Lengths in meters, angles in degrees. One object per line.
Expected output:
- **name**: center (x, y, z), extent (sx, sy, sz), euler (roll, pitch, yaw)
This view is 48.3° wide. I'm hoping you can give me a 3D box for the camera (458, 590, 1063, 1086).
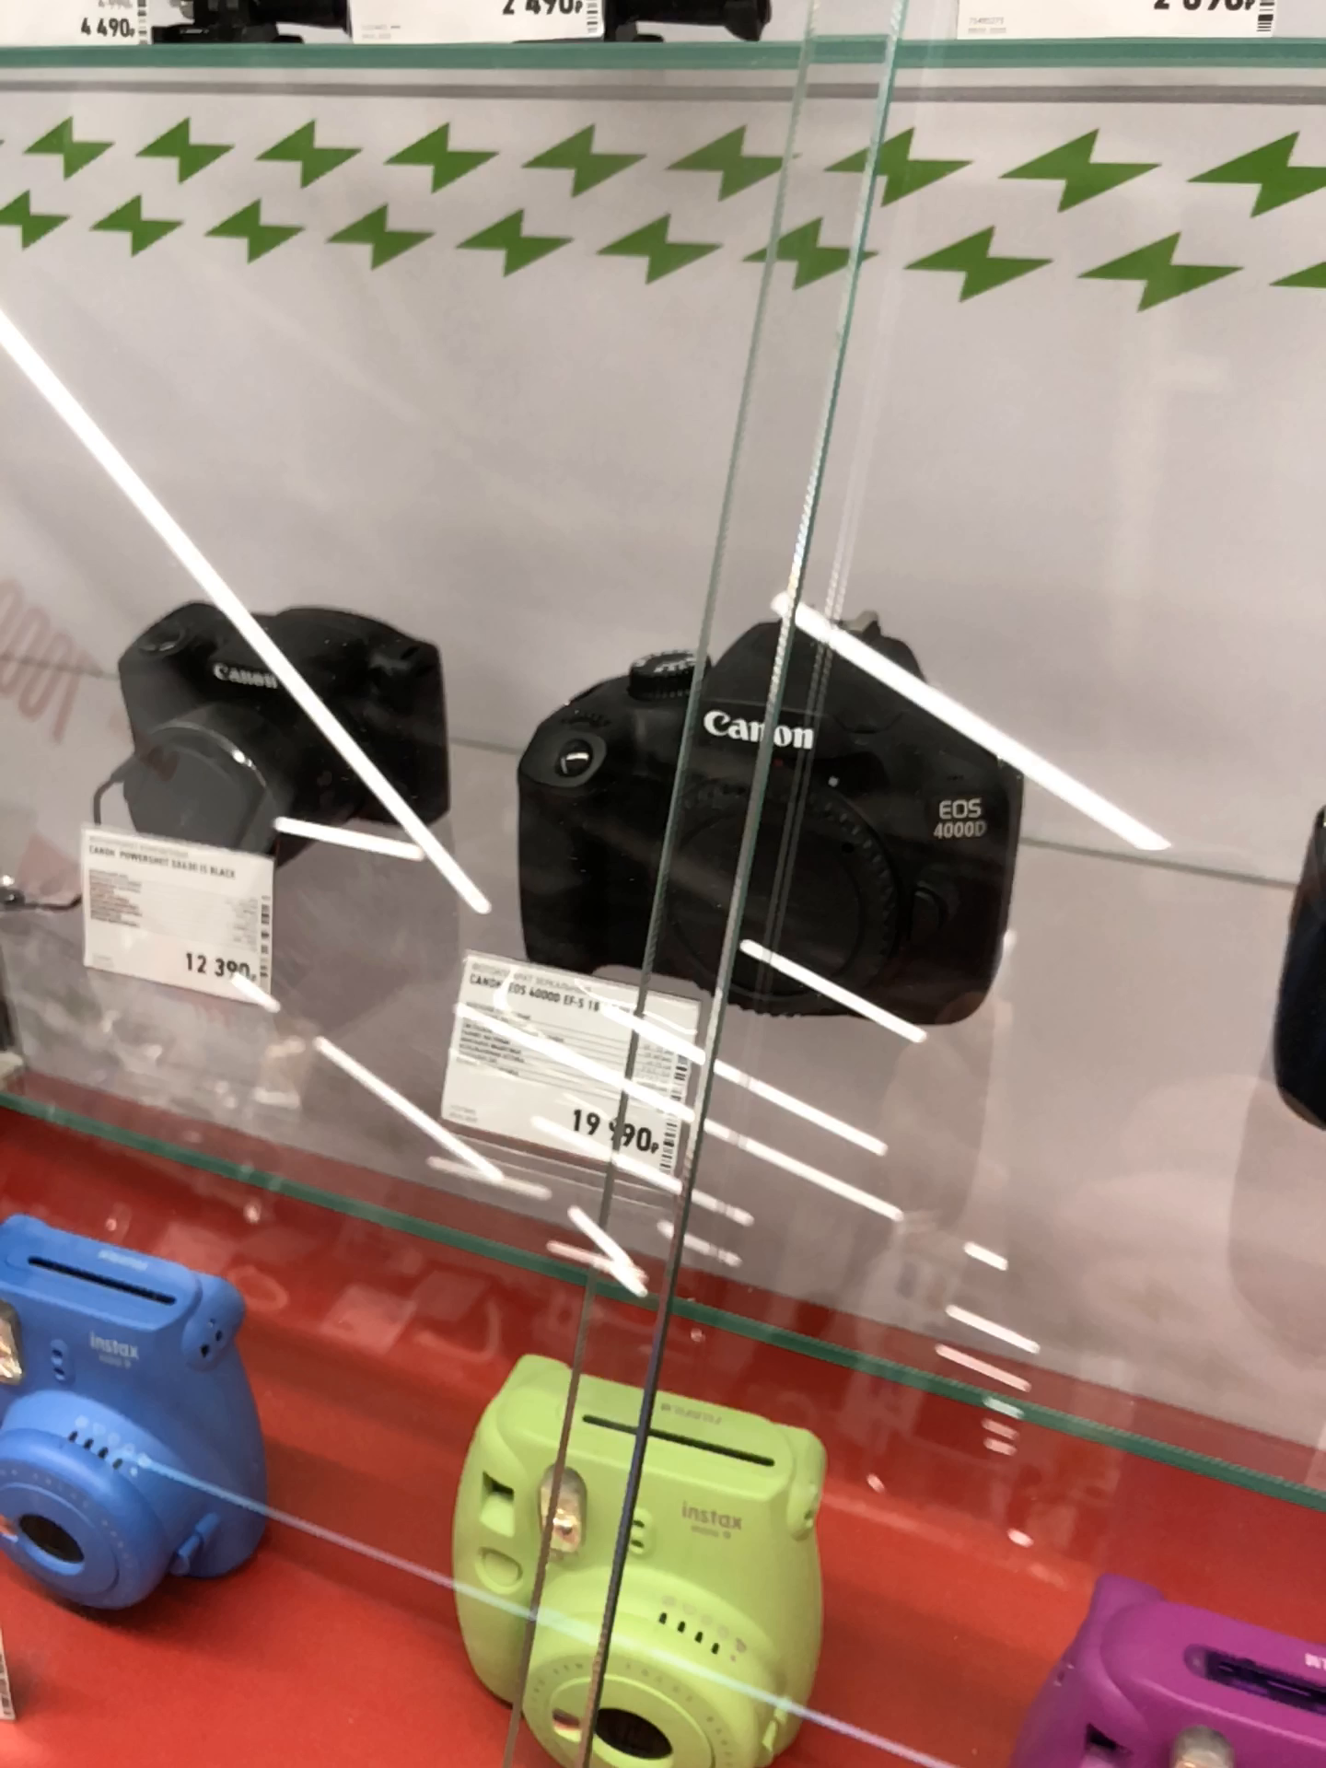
- **camera**: center (0.030, -0.020, 0.407), extent (0.135, 0.083, 0.100), euler (10, 29, 18)
